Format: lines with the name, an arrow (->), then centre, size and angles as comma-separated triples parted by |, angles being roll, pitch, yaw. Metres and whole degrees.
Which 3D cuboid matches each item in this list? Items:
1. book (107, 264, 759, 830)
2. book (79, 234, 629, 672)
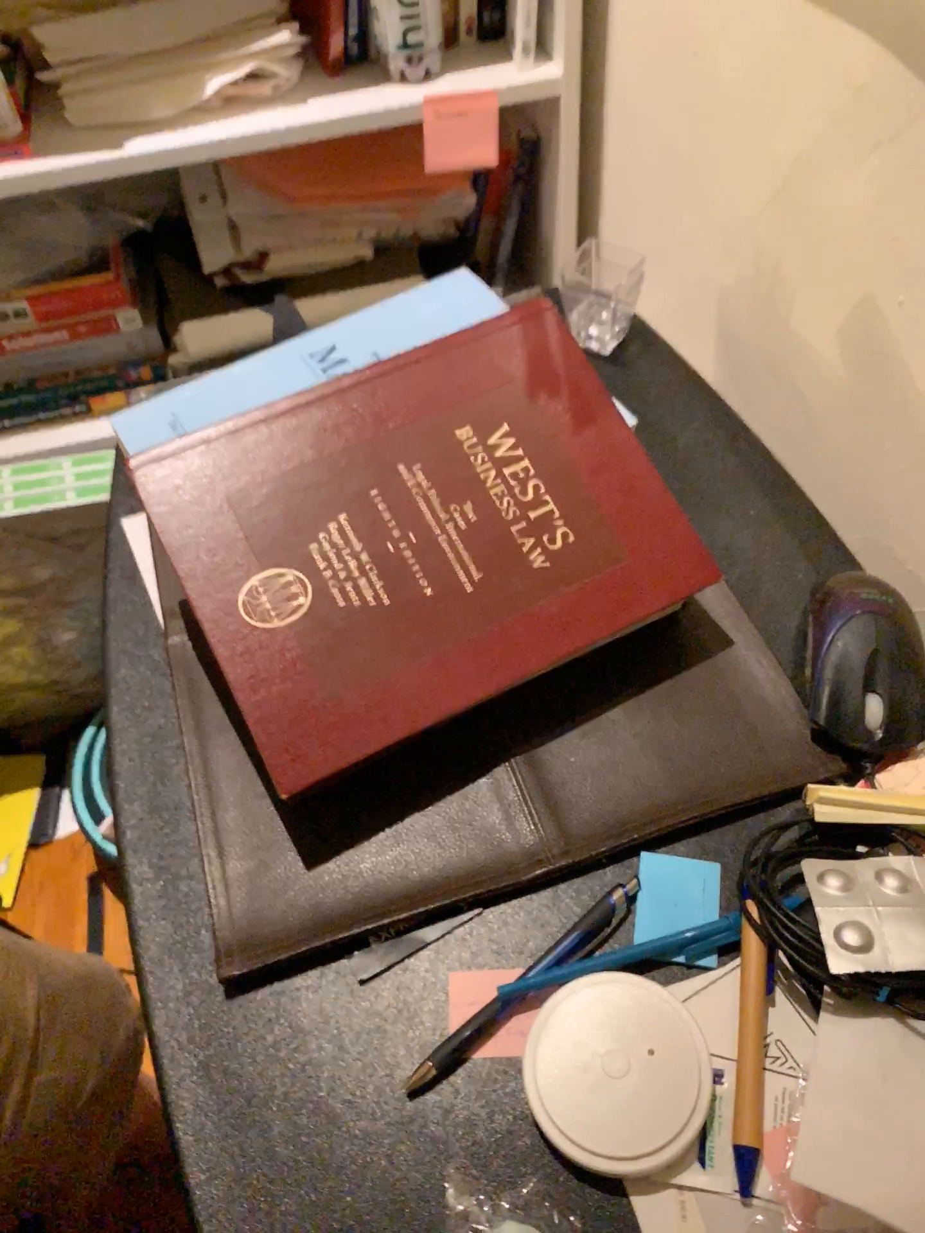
book -> -0.014, -0.047, 0.517 | 0.270, 0.050, 0.210 | -26, 79, -15
book -> -0.072, -0.120, 0.612 | 0.270, 0.070, 0.221 | -26, 54, -14
